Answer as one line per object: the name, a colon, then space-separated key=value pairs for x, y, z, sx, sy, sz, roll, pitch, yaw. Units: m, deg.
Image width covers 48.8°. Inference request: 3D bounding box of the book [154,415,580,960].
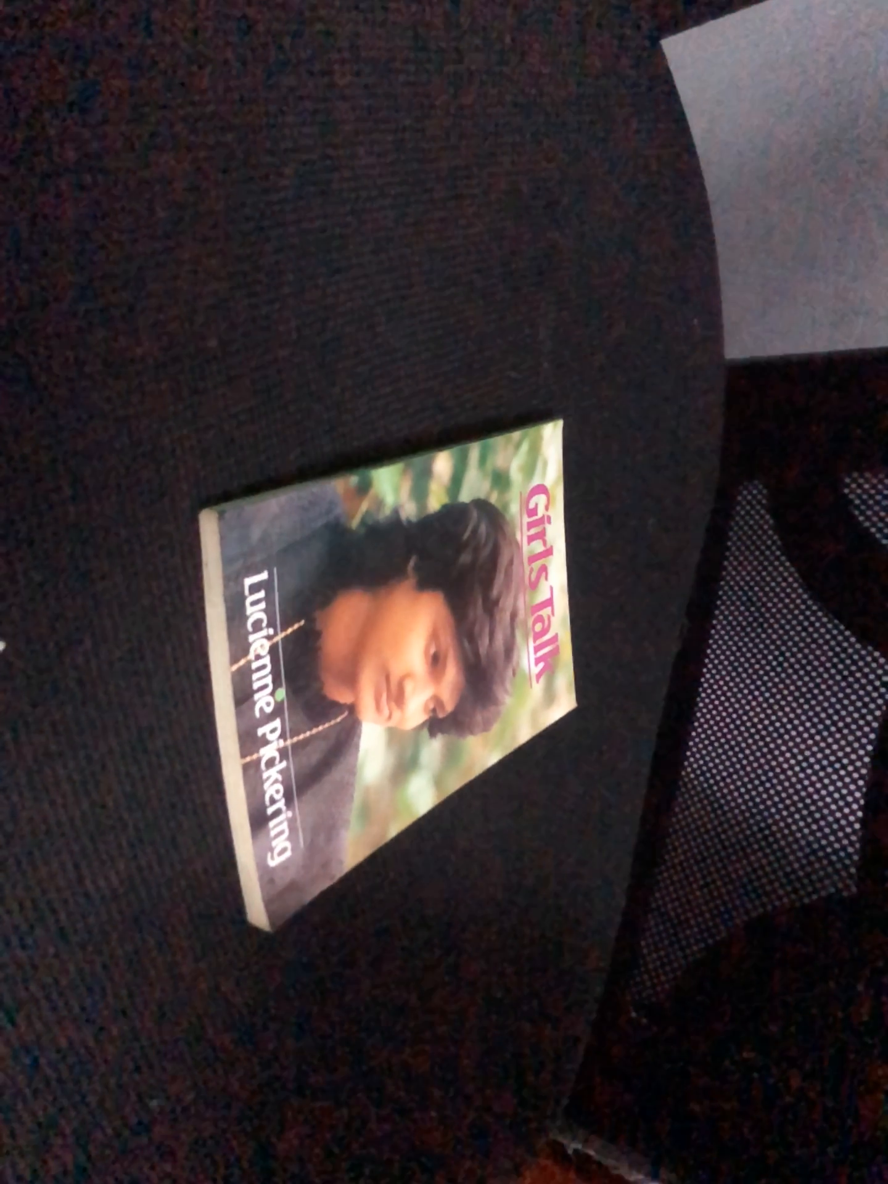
book: x=-0.007 y=0.015 z=0.340 sx=0.201 sy=0.010 sz=0.130 roll=-24 pitch=115 yaw=-51
